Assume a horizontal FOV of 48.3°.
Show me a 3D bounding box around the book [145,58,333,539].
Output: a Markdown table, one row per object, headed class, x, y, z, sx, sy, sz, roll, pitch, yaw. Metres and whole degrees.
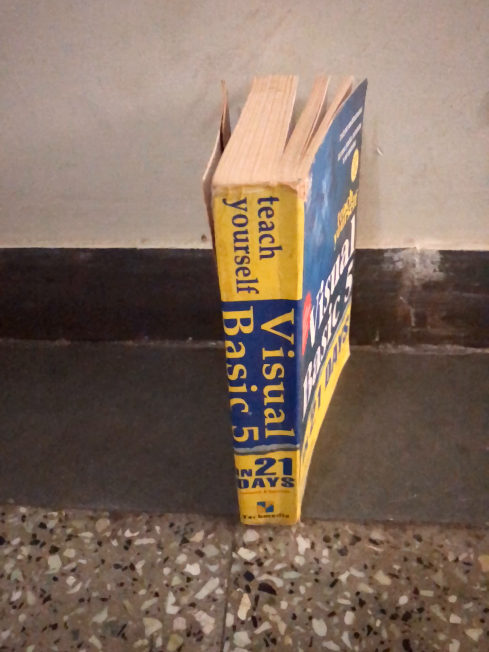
| class | x | y | z | sx | sy | sz | roll | pitch | yaw |
| --- | --- | --- | --- | --- | --- | --- | --- | --- | --- |
| book | 0.024 | -0.035 | 0.378 | 0.060 | 0.229 | 0.251 | 0 | 36 | 12 |
